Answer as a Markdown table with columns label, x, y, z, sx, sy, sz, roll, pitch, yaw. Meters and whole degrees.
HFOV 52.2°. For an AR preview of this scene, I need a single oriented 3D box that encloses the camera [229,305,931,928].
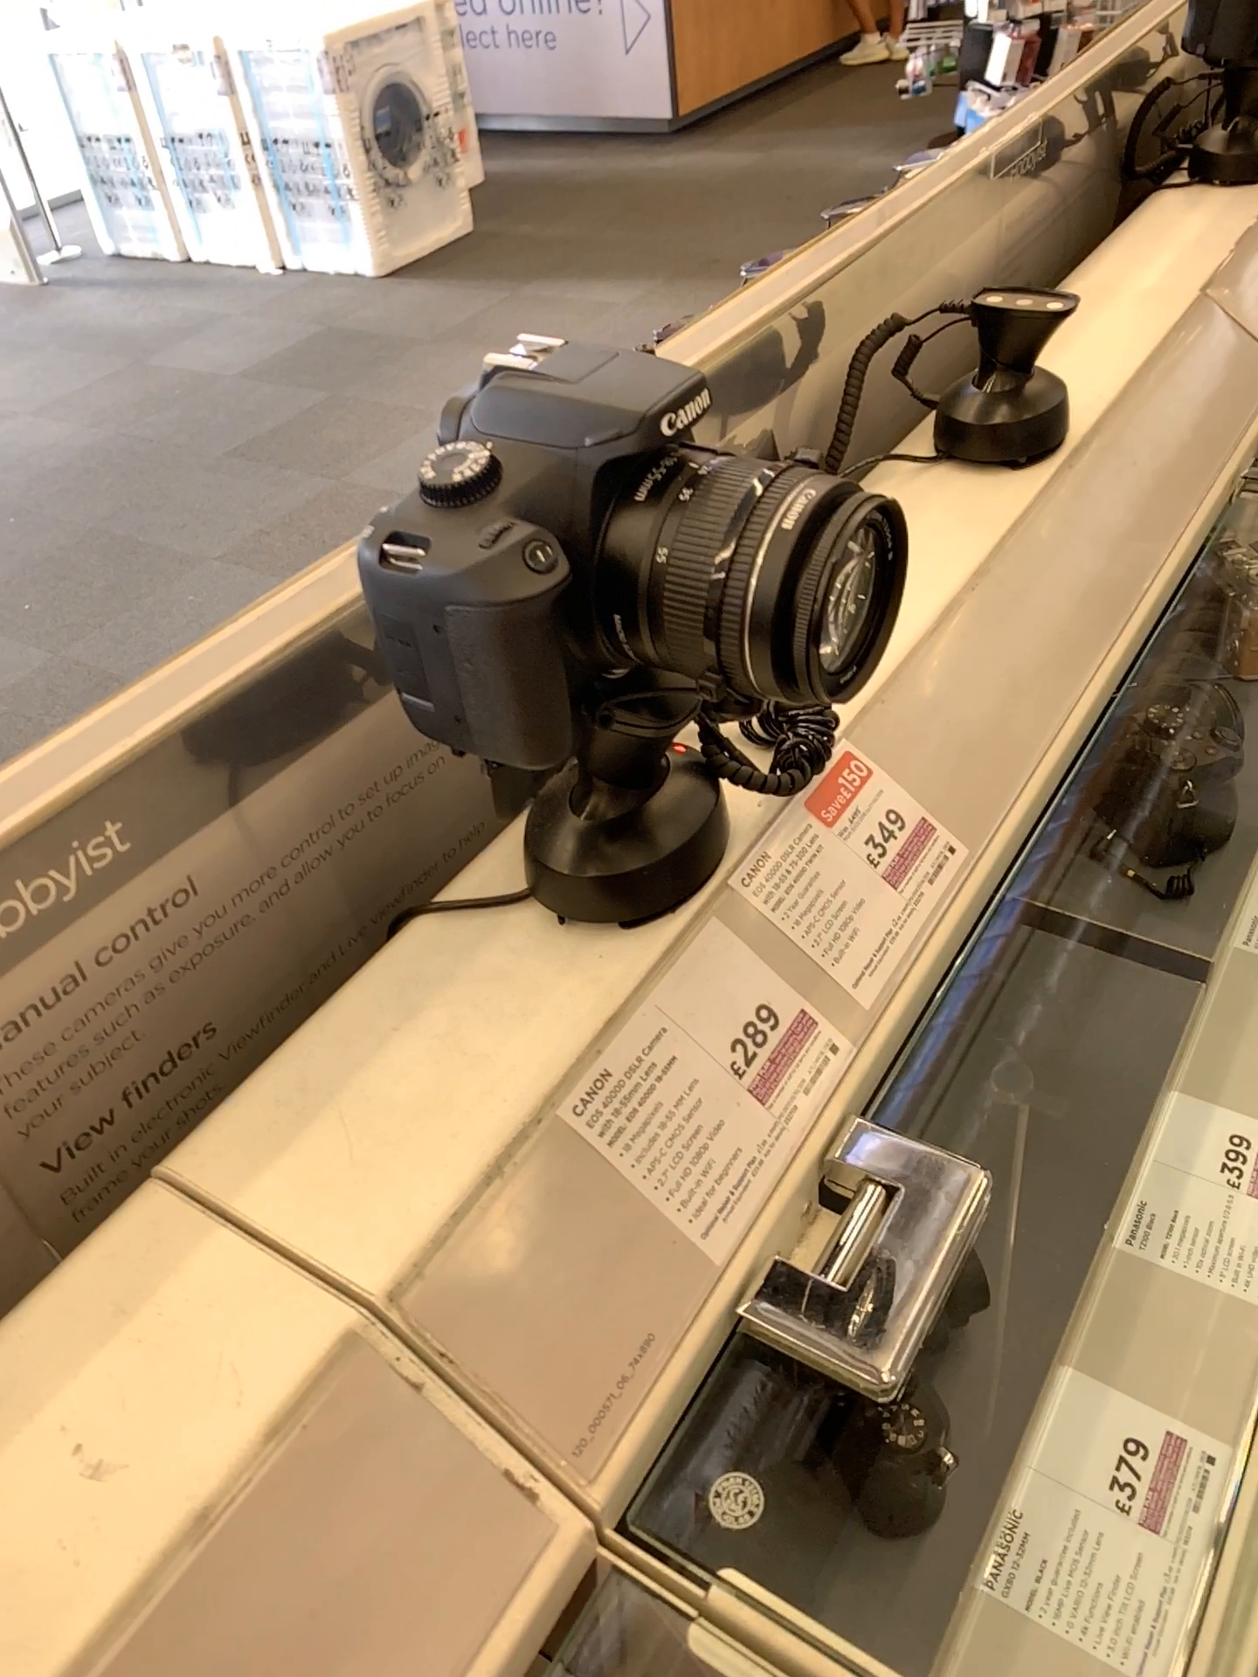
| label | x | y | z | sx | sy | sz | roll | pitch | yaw |
| --- | --- | --- | --- | --- | --- | --- | --- | --- | --- |
| camera | -0.006 | -0.077 | 0.382 | 0.136 | 0.101 | 0.141 | 21 | 48 | 31 |
